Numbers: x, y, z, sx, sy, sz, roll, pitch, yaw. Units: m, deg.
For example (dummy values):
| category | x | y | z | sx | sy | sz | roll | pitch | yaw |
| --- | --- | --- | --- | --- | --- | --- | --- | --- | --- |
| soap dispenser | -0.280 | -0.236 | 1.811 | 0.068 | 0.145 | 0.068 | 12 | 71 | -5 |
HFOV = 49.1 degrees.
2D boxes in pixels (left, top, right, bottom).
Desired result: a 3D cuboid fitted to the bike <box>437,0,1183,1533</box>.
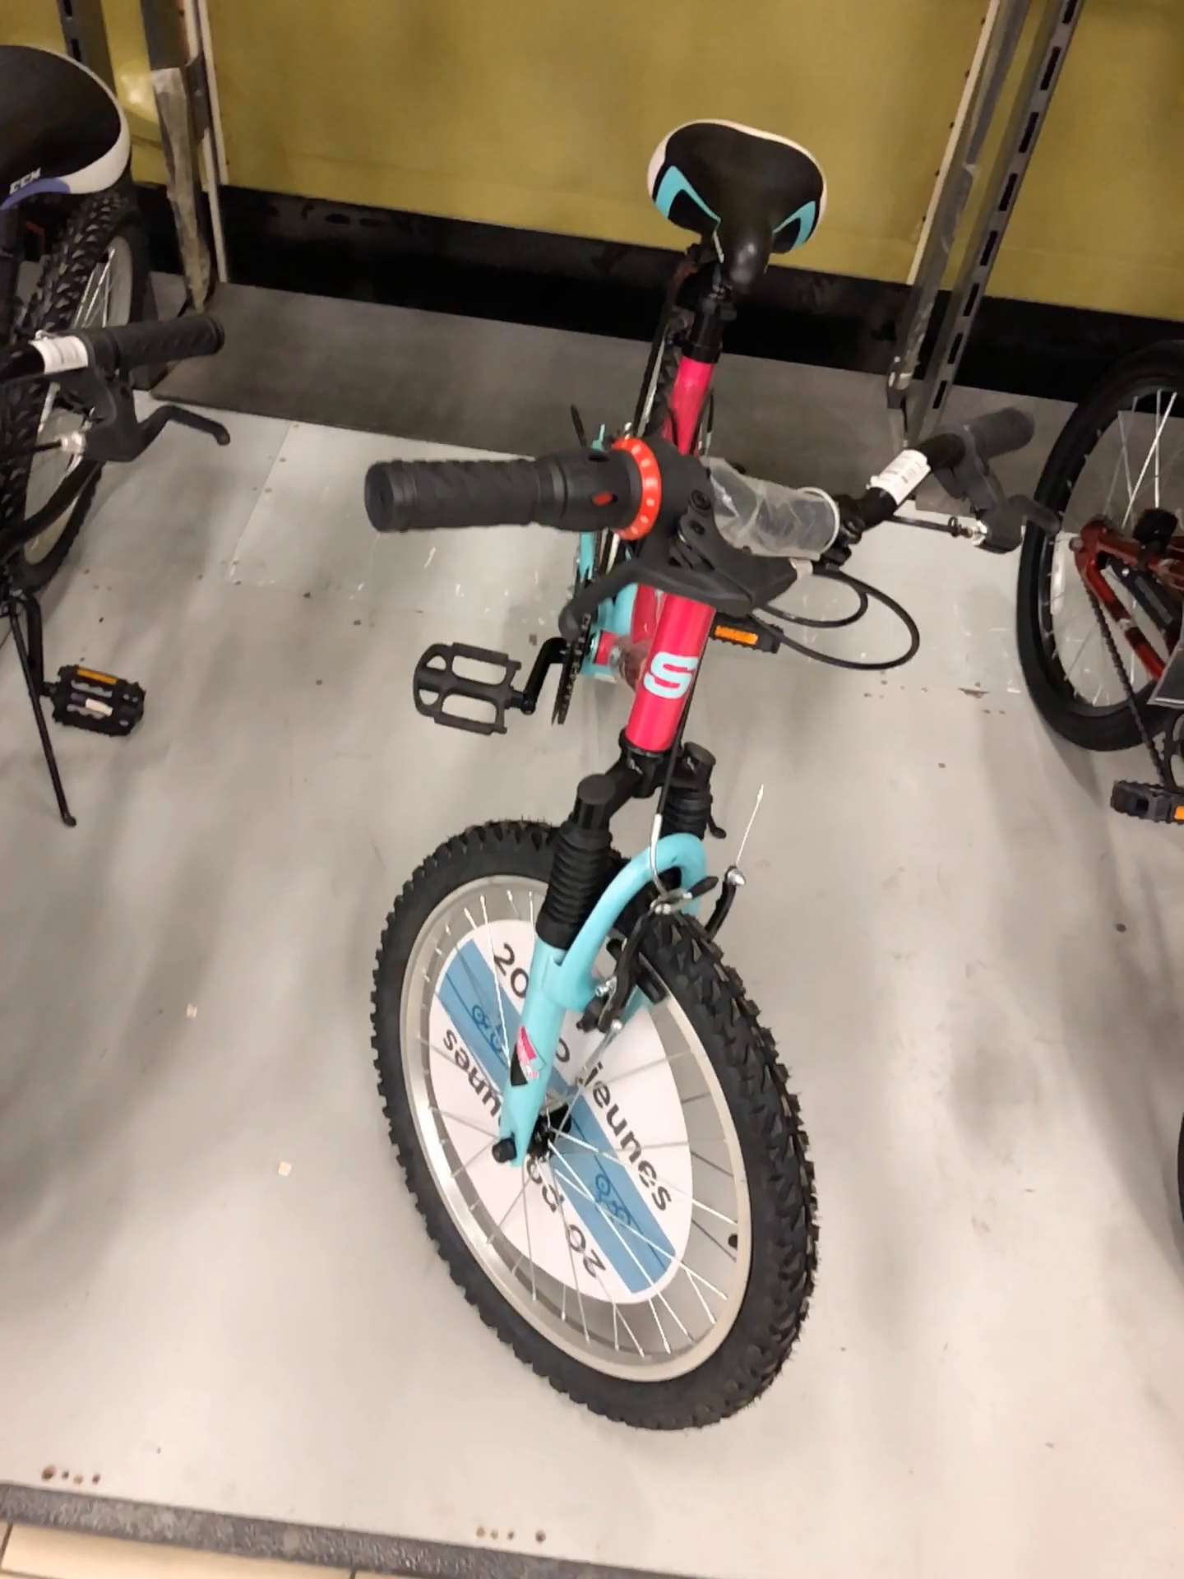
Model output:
| category | x | y | z | sx | sy | sz | roll | pitch | yaw |
| --- | --- | --- | --- | --- | --- | --- | --- | --- | --- |
| bike | 0.174 | -0.133 | 1.180 | 0.562 | 0.764 | 1.220 | 3 | 53 | -4 |
